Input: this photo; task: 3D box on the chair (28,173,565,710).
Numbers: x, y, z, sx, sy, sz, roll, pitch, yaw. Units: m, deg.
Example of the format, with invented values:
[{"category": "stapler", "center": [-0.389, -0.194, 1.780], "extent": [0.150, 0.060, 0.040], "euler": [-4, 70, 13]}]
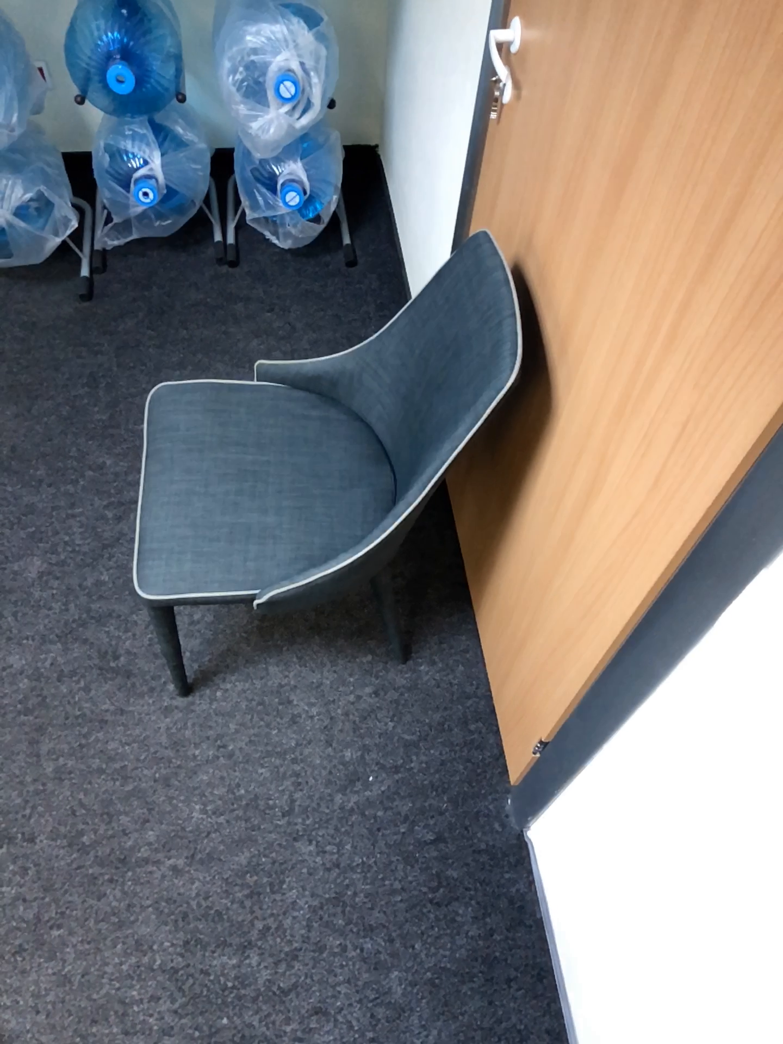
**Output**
[{"category": "chair", "center": [-0.158, -0.086, 1.516], "extent": [0.640, 0.846, 0.522], "euler": [-3, 58, -6]}]
